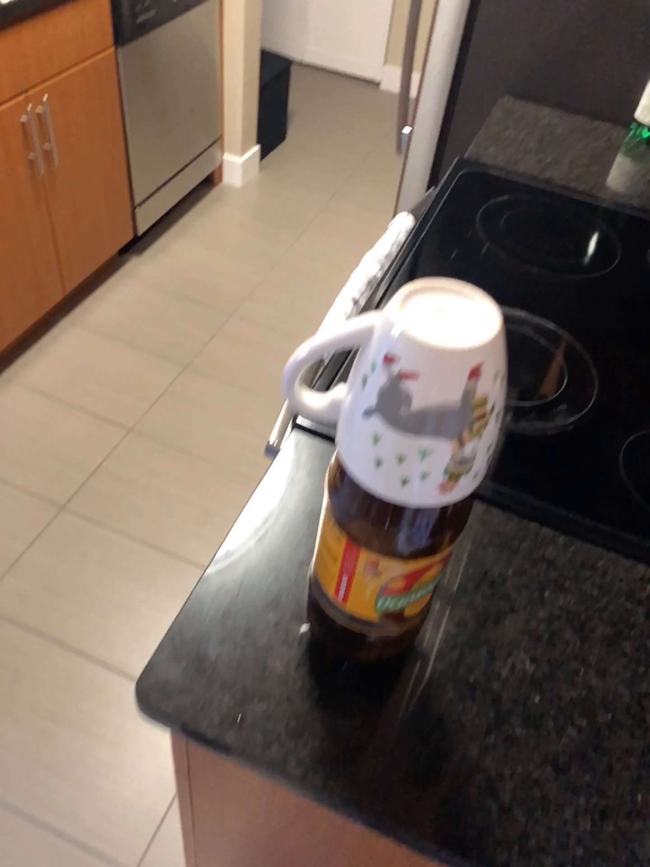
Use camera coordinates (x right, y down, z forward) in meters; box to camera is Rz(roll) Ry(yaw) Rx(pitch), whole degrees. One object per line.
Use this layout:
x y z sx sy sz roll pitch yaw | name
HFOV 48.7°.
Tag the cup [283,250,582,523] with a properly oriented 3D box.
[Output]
0.052 -0.025 0.425 0.140 0.110 0.100 5 48 -5 | cup
